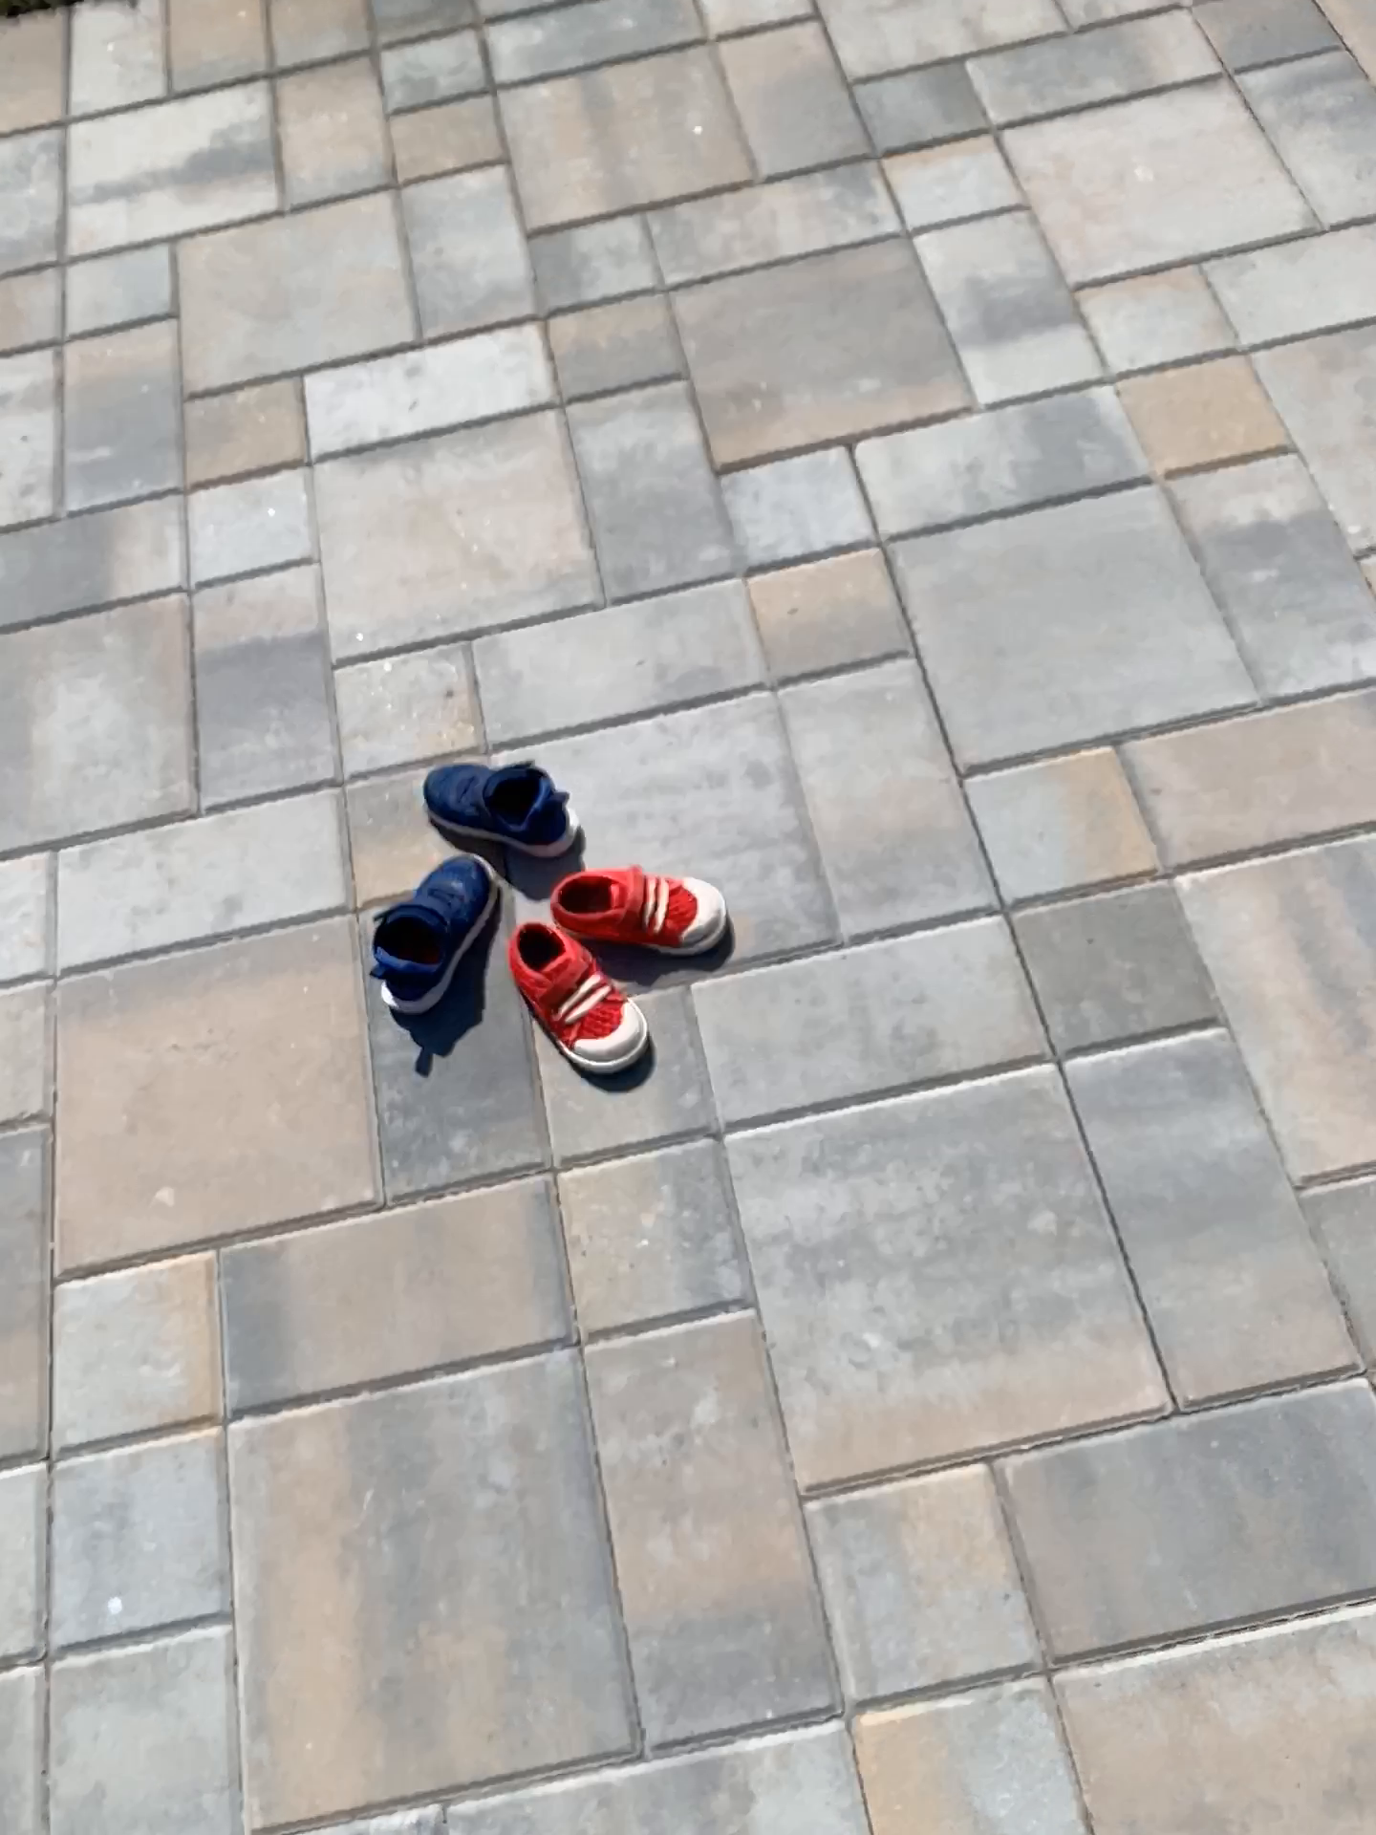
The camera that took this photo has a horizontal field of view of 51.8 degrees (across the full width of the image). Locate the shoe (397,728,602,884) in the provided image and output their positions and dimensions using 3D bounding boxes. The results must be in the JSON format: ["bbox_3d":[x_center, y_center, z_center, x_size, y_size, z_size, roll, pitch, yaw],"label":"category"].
[{"bbox_3d":[-0.174,-0.104,1.324,0.160,0.070,0.080,18,67,14],"label":"shoe"}]

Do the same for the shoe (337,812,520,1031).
[{"bbox_3d":[-0.227,0.003,1.261,0.080,0.080,0.160,19,67,14],"label":"shoe"}]

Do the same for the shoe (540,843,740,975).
[{"bbox_3d":[-0.040,-0.008,1.258,0.160,0.070,0.080,5,65,8],"label":"shoe"}]

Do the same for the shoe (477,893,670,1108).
[{"bbox_3d":[-0.100,0.072,1.242,0.080,0.070,0.160,-37,66,-12],"label":"shoe"}]
